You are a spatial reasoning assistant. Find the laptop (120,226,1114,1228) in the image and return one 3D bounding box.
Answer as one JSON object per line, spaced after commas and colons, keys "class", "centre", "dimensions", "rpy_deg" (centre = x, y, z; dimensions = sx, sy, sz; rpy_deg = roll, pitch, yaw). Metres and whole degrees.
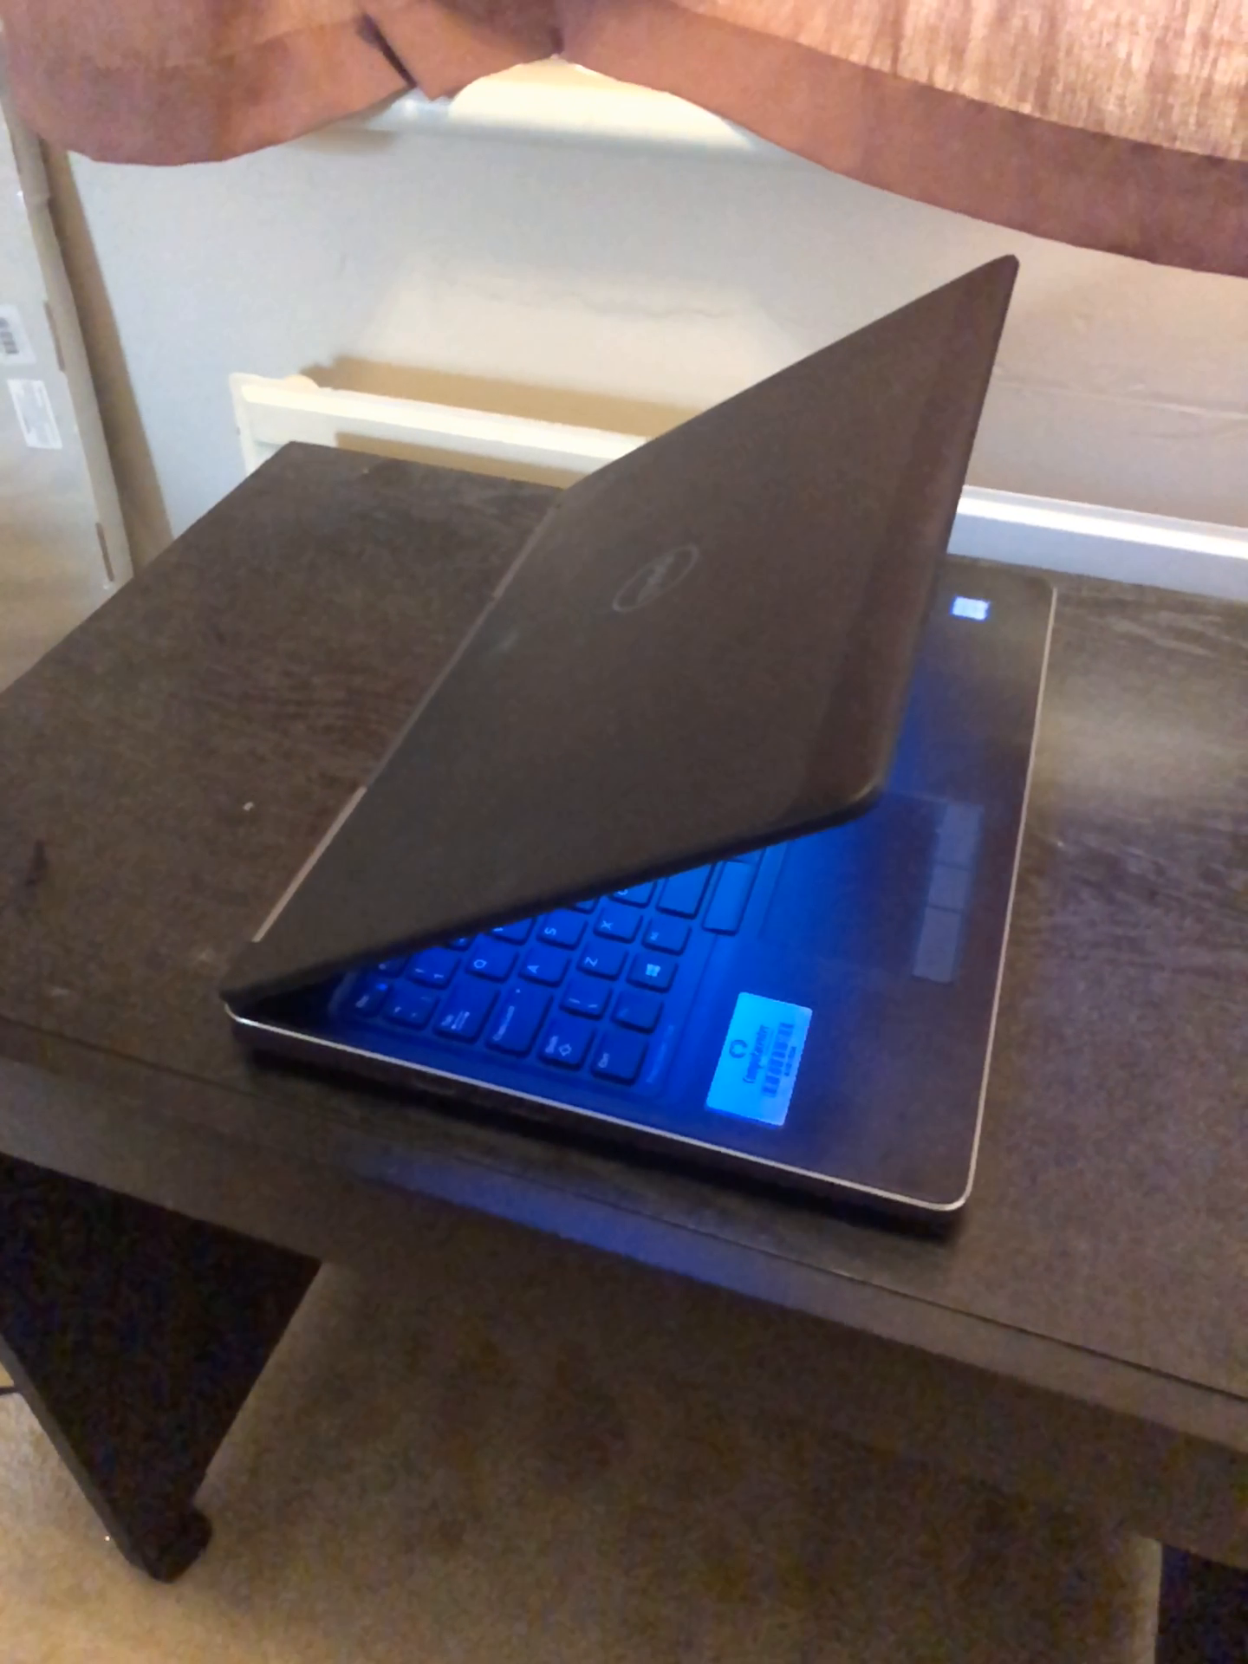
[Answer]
{"class": "laptop", "centre": [0.033, -0.081, 0.512], "dimensions": [0.243, 0.134, 0.364], "rpy_deg": [12, 43, 14]}
